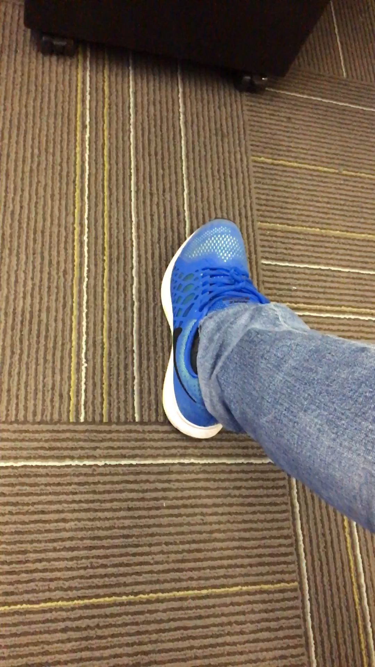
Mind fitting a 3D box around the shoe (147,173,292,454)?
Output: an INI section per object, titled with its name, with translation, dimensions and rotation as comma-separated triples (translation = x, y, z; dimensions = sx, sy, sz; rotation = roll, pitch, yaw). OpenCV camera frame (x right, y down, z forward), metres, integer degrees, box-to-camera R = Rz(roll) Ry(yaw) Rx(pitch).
[shoe]
translation = 0.037, -0.023, 0.647
dimensions = 0.120, 0.110, 0.290
rotation = 11, 64, -15
